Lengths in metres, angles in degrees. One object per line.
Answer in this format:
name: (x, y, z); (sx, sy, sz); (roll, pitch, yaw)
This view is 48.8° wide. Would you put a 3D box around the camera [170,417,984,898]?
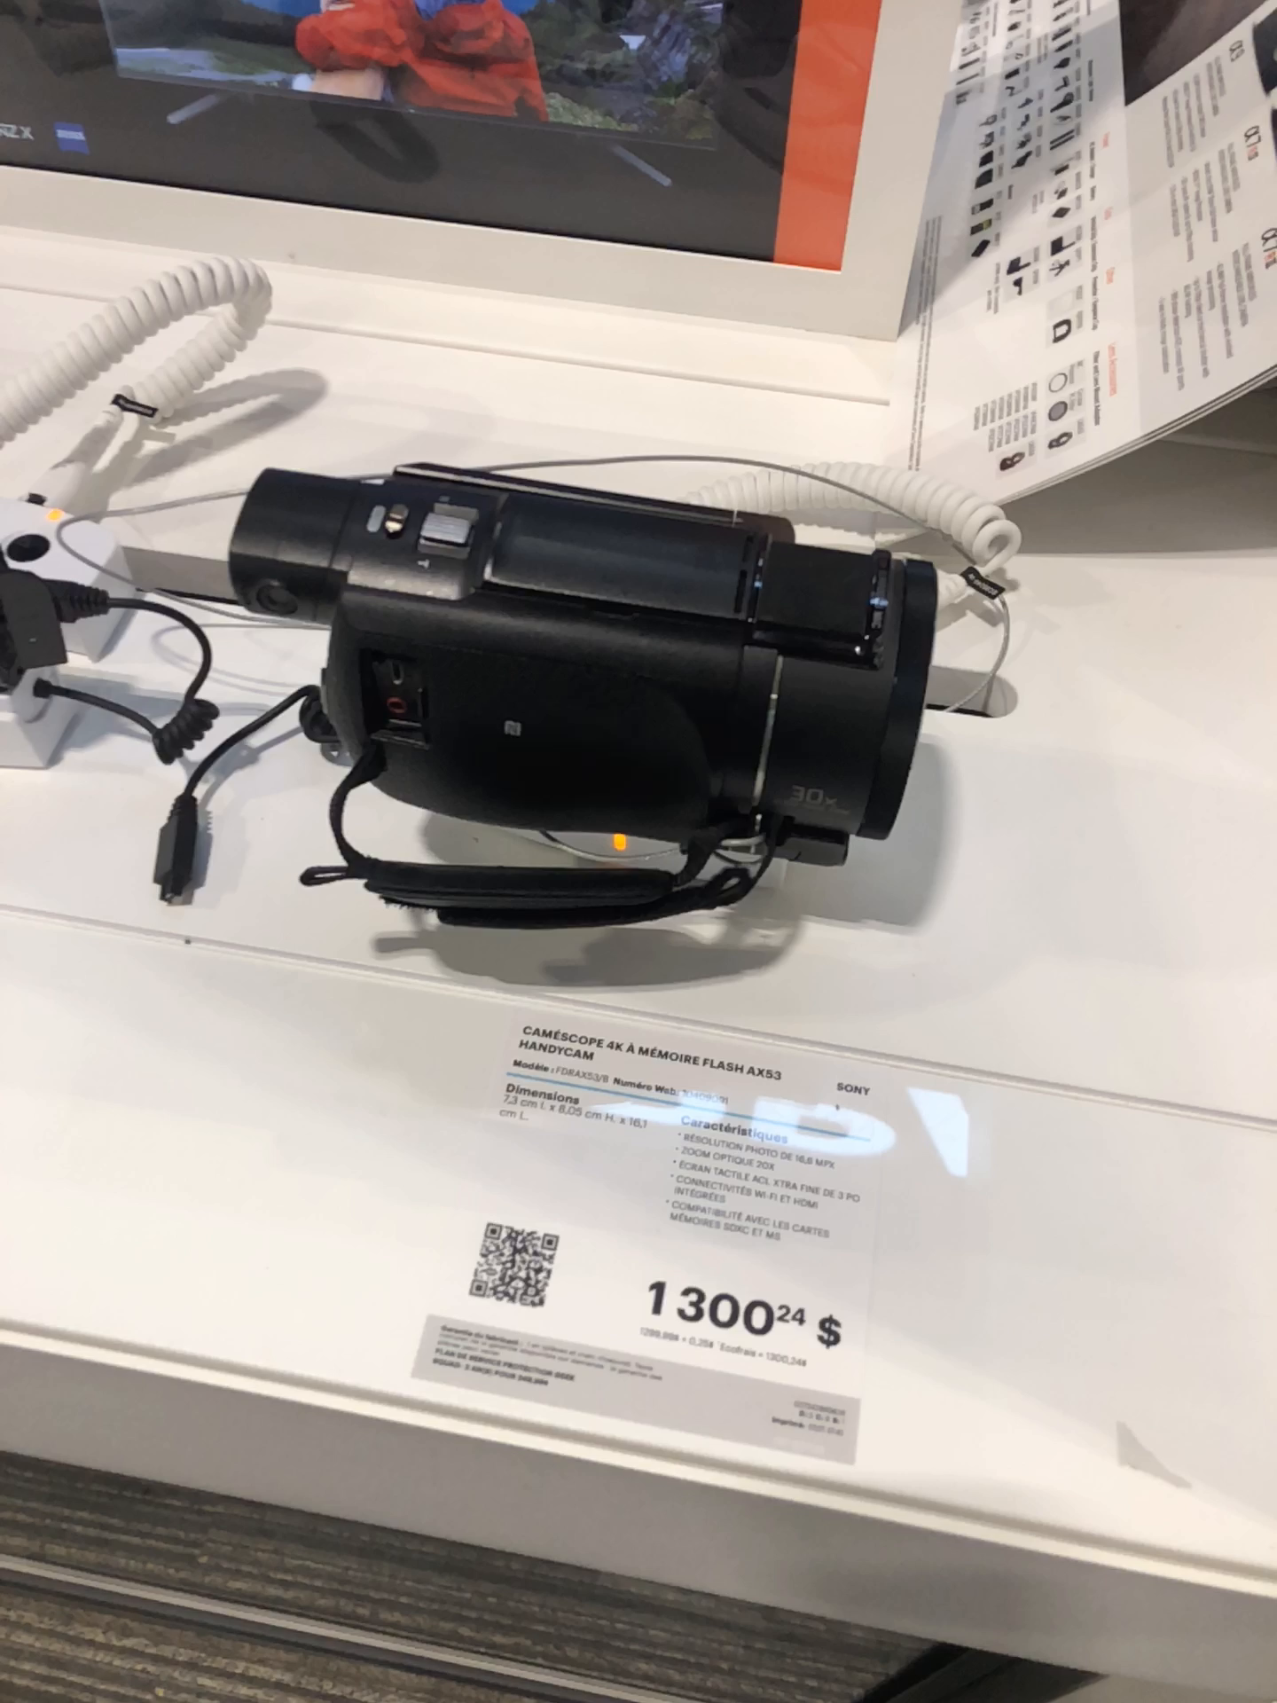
camera: (-0.011, -0.046, 0.332); (0.168, 0.066, 0.061); (9, 53, 6)
